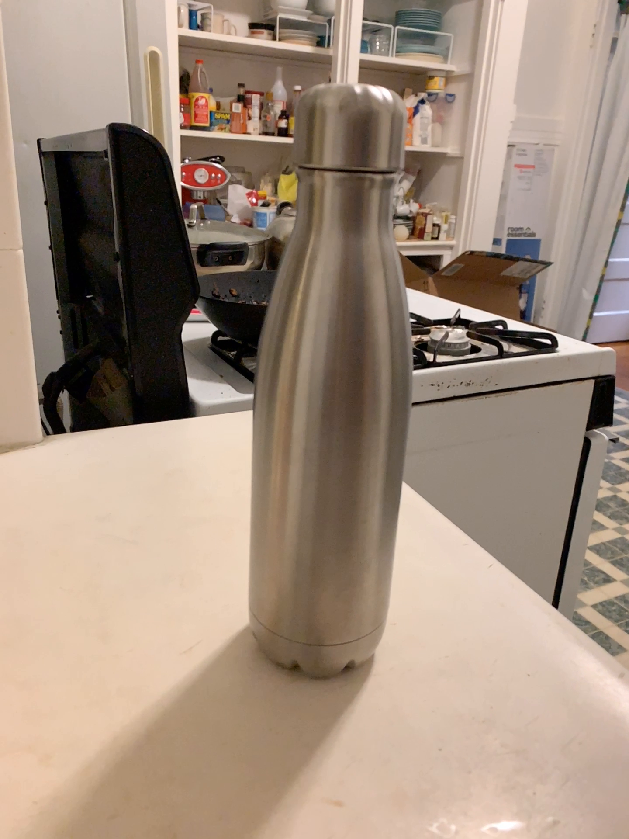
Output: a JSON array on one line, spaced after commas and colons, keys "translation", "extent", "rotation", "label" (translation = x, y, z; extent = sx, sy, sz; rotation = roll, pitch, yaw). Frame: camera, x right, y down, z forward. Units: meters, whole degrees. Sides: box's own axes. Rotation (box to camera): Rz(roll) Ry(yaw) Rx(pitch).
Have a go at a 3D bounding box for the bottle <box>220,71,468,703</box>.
[{"translation": [0.000, -0.006, 0.283], "extent": [0.070, 0.249, 0.070], "rotation": [3, 21, -1], "label": "bottle"}]
